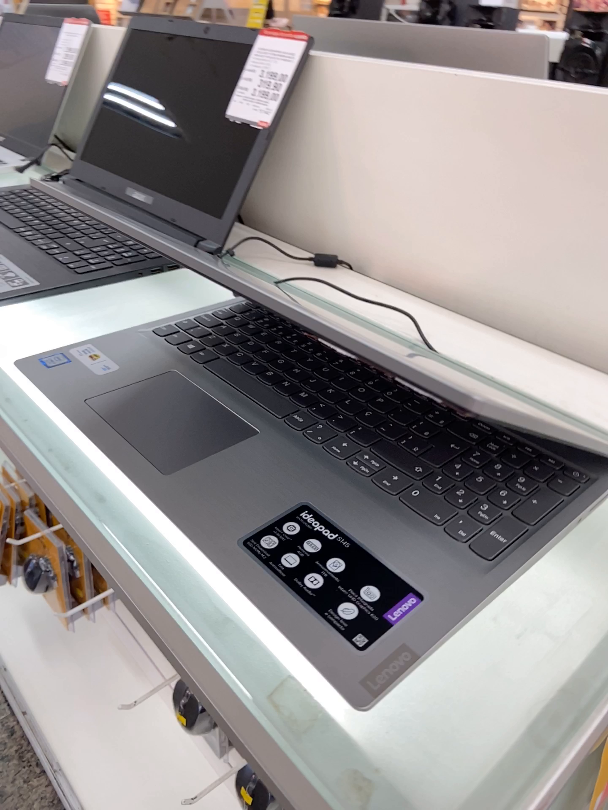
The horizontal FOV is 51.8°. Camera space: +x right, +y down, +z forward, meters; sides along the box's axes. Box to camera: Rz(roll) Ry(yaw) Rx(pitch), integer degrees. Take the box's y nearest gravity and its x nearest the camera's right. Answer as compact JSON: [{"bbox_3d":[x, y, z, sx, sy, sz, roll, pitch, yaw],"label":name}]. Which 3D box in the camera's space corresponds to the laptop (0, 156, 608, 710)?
[{"bbox_3d":[-0.006,-0.049,0.387,0.240,0.122,0.355,-24,40,-35],"label":"laptop"}]
